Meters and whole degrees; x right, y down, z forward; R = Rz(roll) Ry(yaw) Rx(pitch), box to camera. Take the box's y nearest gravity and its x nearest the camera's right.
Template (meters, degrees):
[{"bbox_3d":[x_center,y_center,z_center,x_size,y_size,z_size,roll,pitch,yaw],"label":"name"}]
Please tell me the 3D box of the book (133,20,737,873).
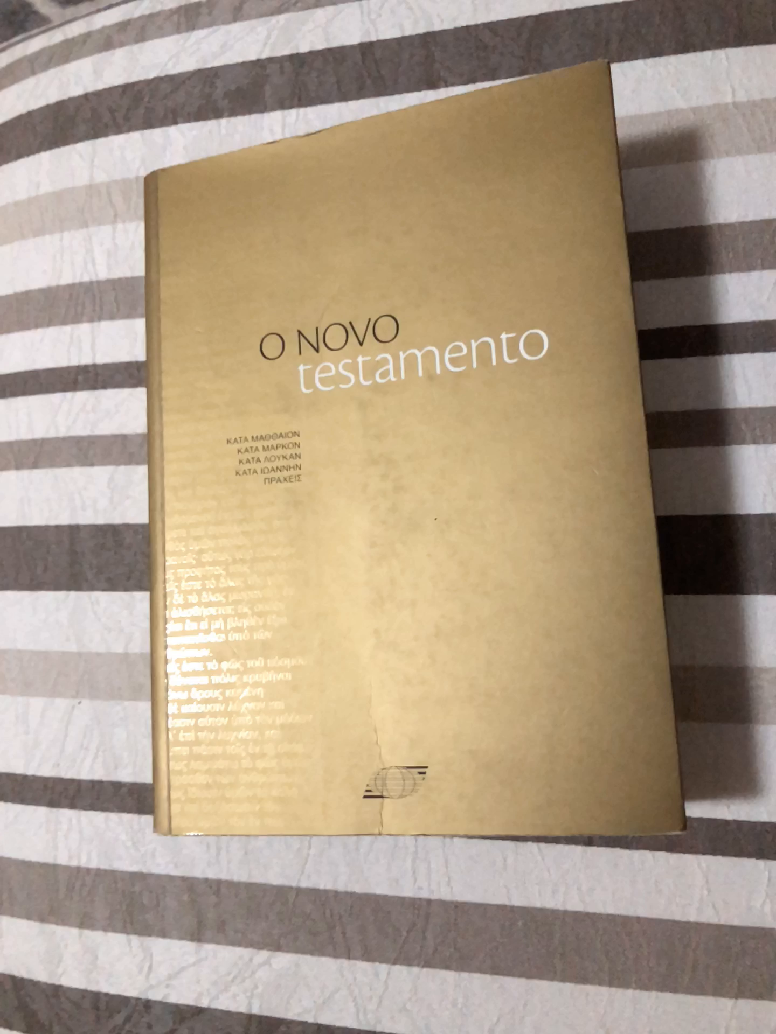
[{"bbox_3d":[0.006,-0.018,0.268,0.160,0.050,0.230,-5,80,13],"label":"book"}]
